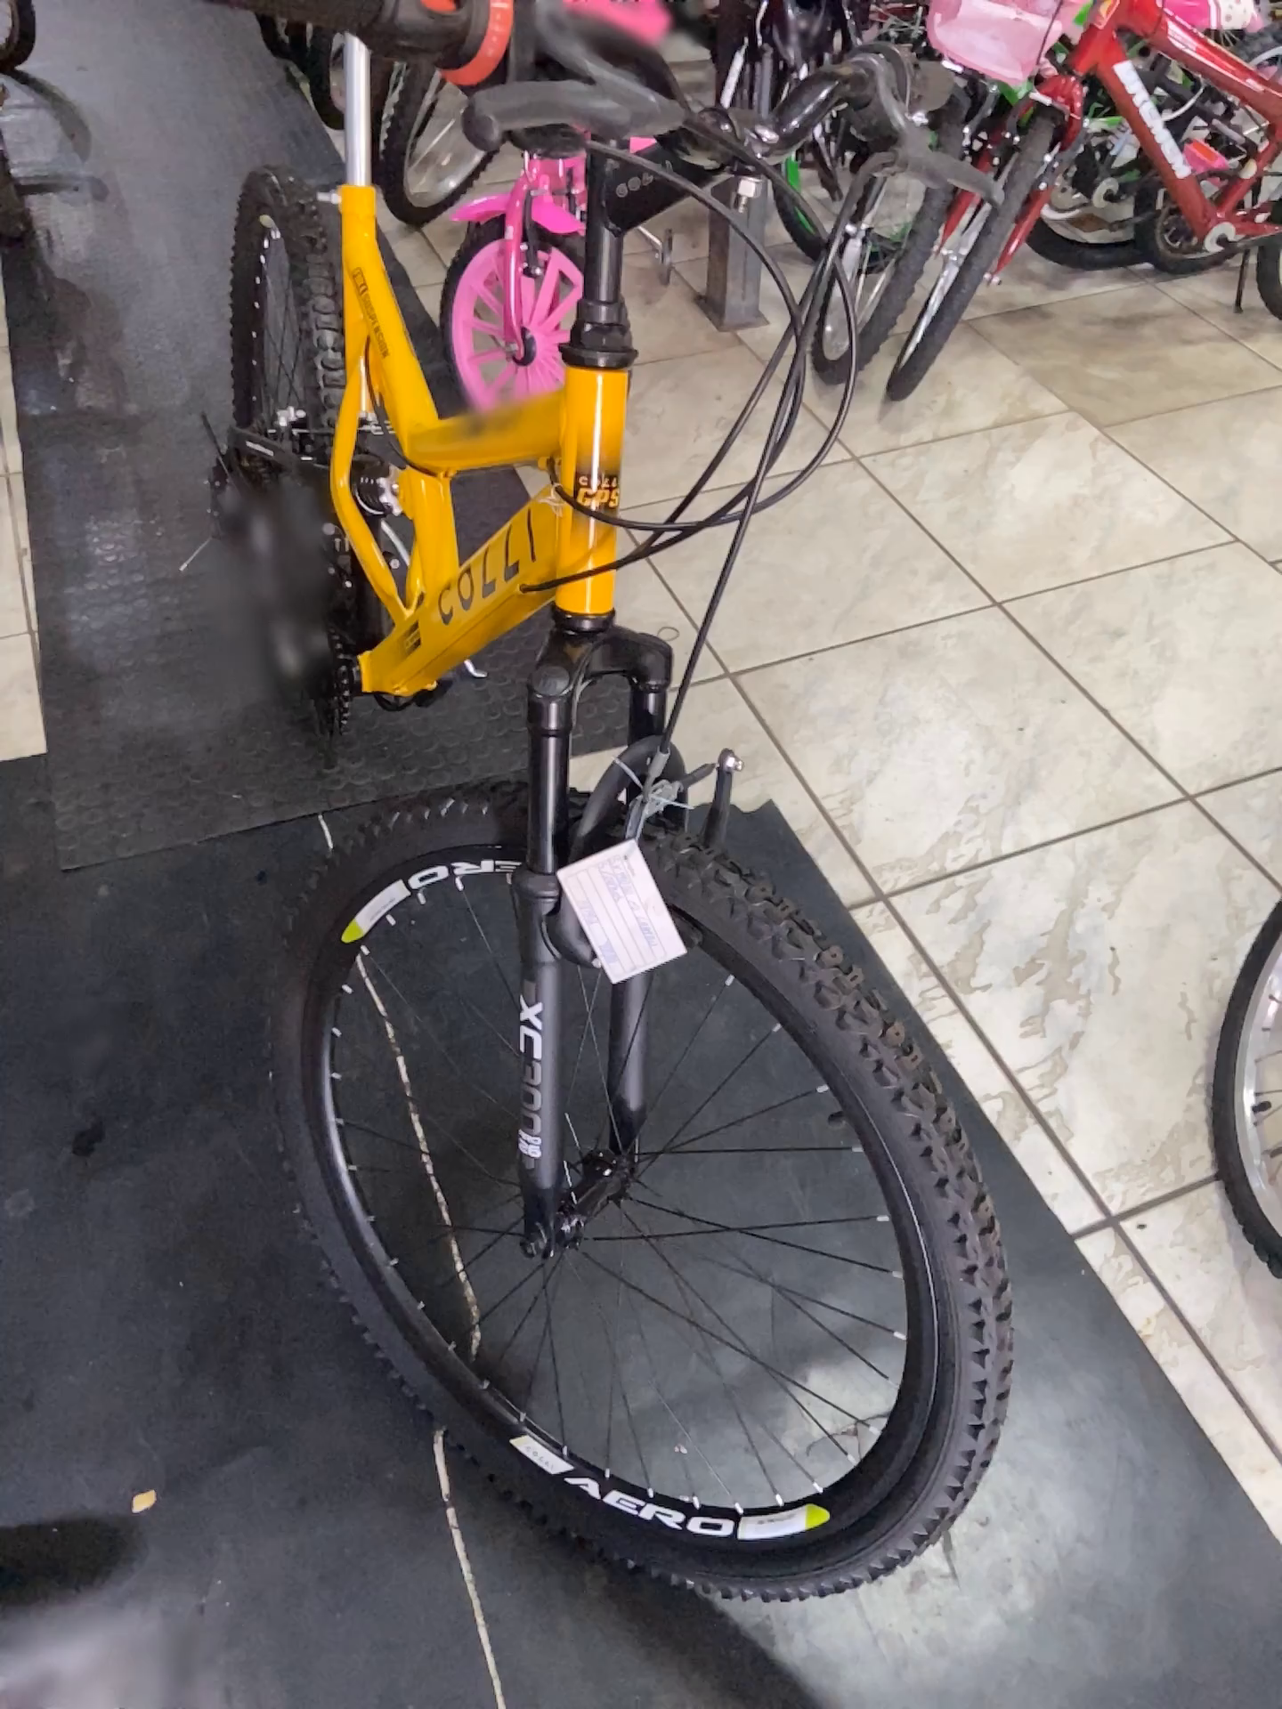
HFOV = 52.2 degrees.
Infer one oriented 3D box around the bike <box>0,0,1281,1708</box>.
[{"bbox_3d":[-0.185,-0.305,1.044,0.476,0.987,1.526,-21,48,-19],"label":"bike"}]
